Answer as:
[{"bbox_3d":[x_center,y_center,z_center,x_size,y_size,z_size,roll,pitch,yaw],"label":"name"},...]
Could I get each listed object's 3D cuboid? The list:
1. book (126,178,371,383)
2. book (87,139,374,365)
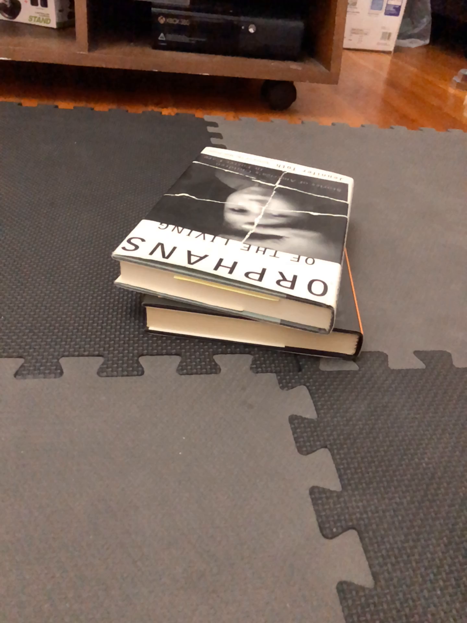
[{"bbox_3d":[0.015,-0.045,0.445,0.160,0.030,0.252,6,36,-1],"label":"book"},{"bbox_3d":[0.024,-0.076,0.439,0.180,0.030,0.282,12,36,7],"label":"book"}]
